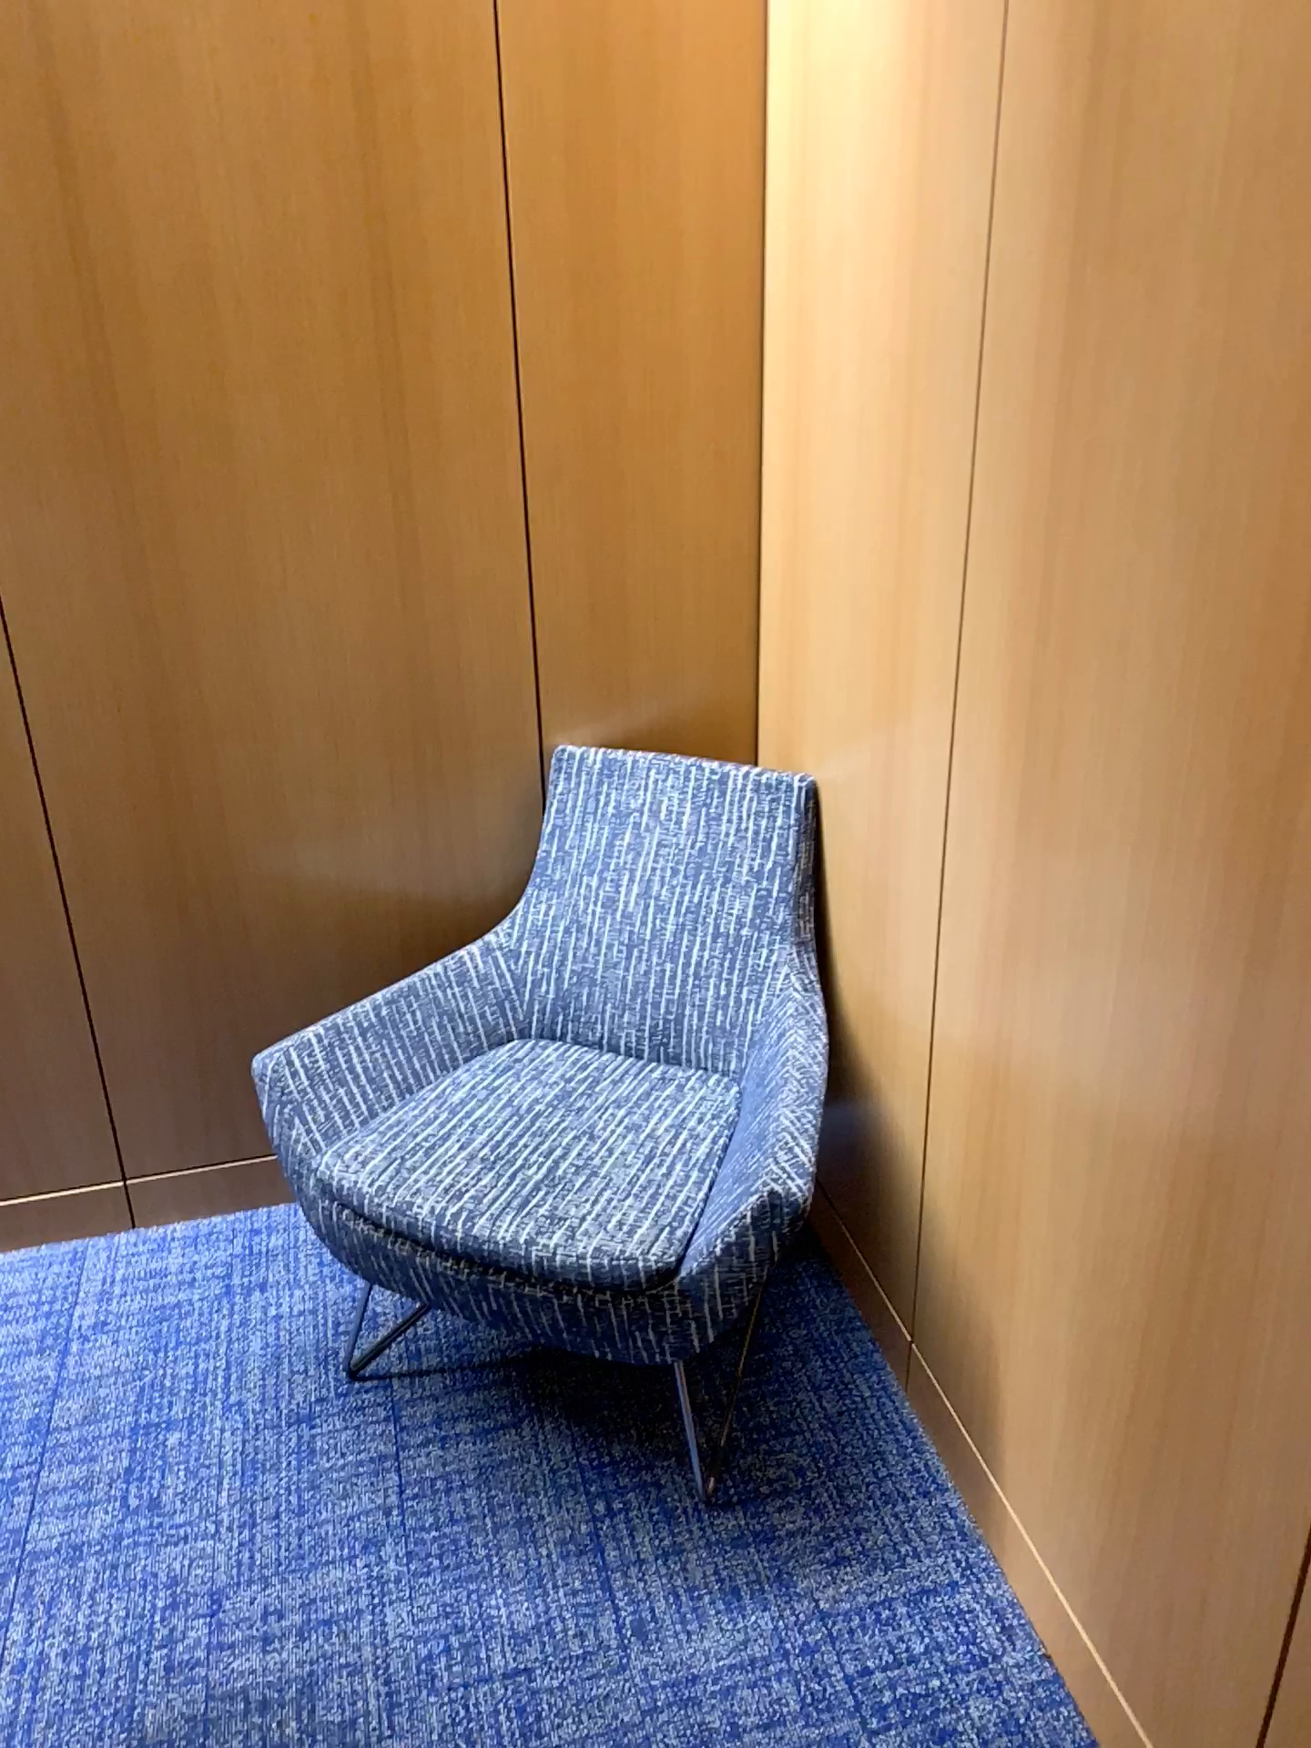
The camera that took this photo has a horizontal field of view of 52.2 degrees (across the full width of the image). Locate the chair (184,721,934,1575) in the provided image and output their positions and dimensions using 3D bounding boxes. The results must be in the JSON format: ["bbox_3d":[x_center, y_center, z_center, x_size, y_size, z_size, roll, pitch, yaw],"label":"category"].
[{"bbox_3d":[-0.070,0.284,1.750,0.700,0.747,0.616,8,26,21],"label":"chair"}]
